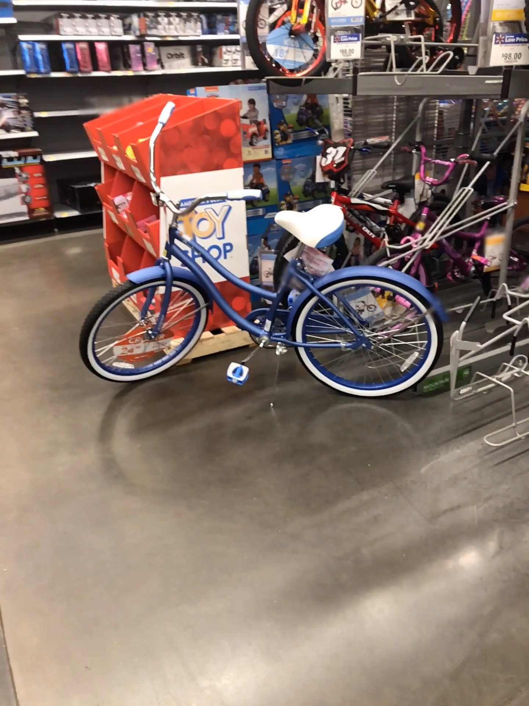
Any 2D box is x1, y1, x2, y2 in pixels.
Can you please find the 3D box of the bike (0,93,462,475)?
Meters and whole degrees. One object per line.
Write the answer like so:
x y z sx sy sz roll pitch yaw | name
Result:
-0.082 -0.278 2.158 1.353 1.114 0.861 -1 25 8 | bike
